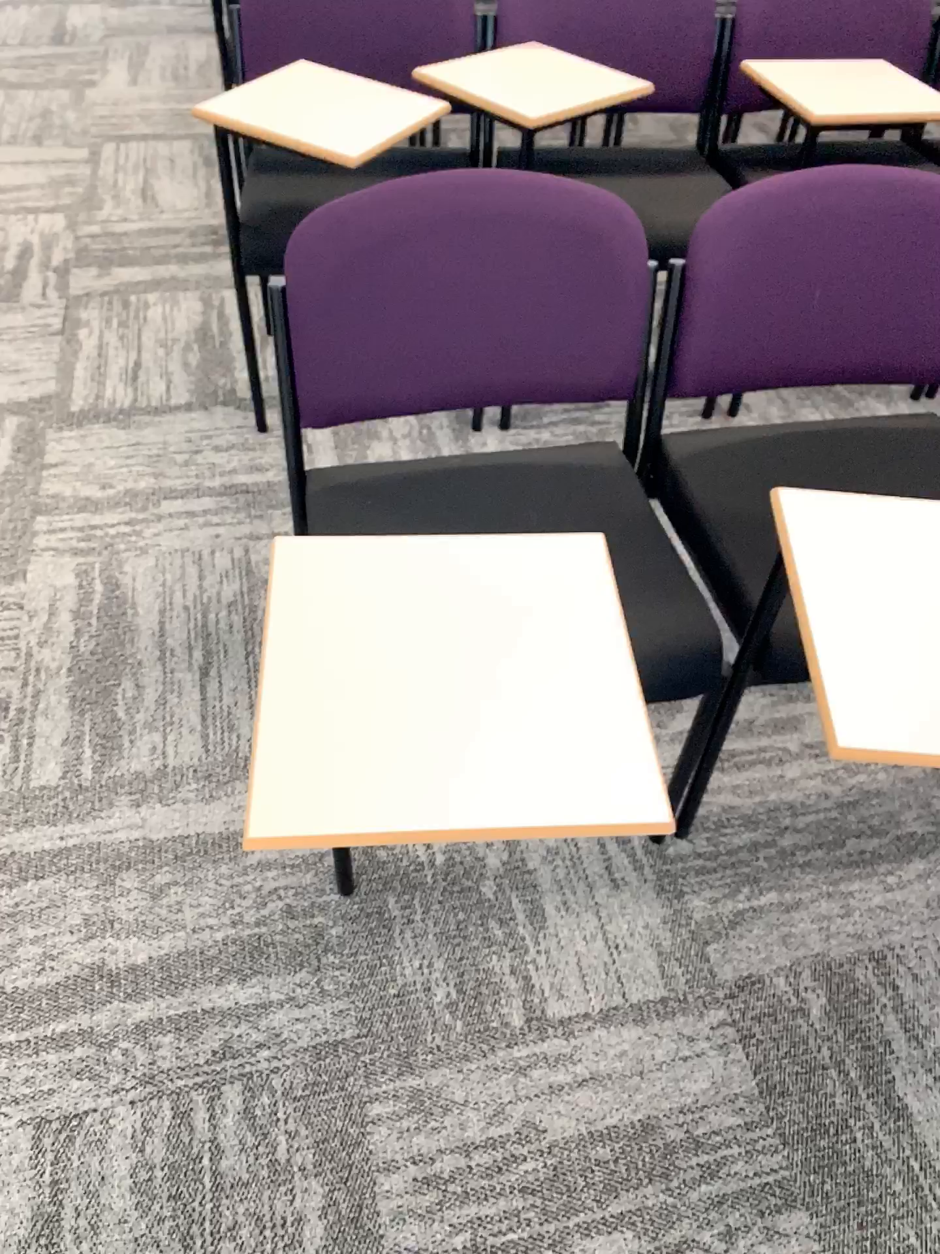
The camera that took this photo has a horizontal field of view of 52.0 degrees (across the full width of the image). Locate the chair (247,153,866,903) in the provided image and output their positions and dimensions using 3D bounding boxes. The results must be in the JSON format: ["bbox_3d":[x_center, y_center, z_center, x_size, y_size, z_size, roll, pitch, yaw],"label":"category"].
[{"bbox_3d":[0.030,-0.099,1.271,0.516,0.802,0.505,-7,48,-10],"label":"chair"}]

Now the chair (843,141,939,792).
[{"bbox_3d":[1.038,-0.214,1.451,0.516,0.792,0.485,-7,48,-10],"label":"chair"}]

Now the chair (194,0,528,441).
[{"bbox_3d":[-0.208,-0.863,1.958,0.516,0.802,0.505,-2,47,-6],"label":"chair"}]

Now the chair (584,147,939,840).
[{"bbox_3d":[0.530,-0.160,1.363,0.516,0.792,0.495,-7,48,-10],"label":"chair"}]

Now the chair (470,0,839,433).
[{"bbox_3d":[0.307,-0.892,2.024,0.516,0.782,0.505,-4,47,-7],"label":"chair"}]

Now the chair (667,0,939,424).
[{"bbox_3d":[0.818,-0.930,2.080,0.516,0.802,0.505,-3,47,-7],"label":"chair"}]
